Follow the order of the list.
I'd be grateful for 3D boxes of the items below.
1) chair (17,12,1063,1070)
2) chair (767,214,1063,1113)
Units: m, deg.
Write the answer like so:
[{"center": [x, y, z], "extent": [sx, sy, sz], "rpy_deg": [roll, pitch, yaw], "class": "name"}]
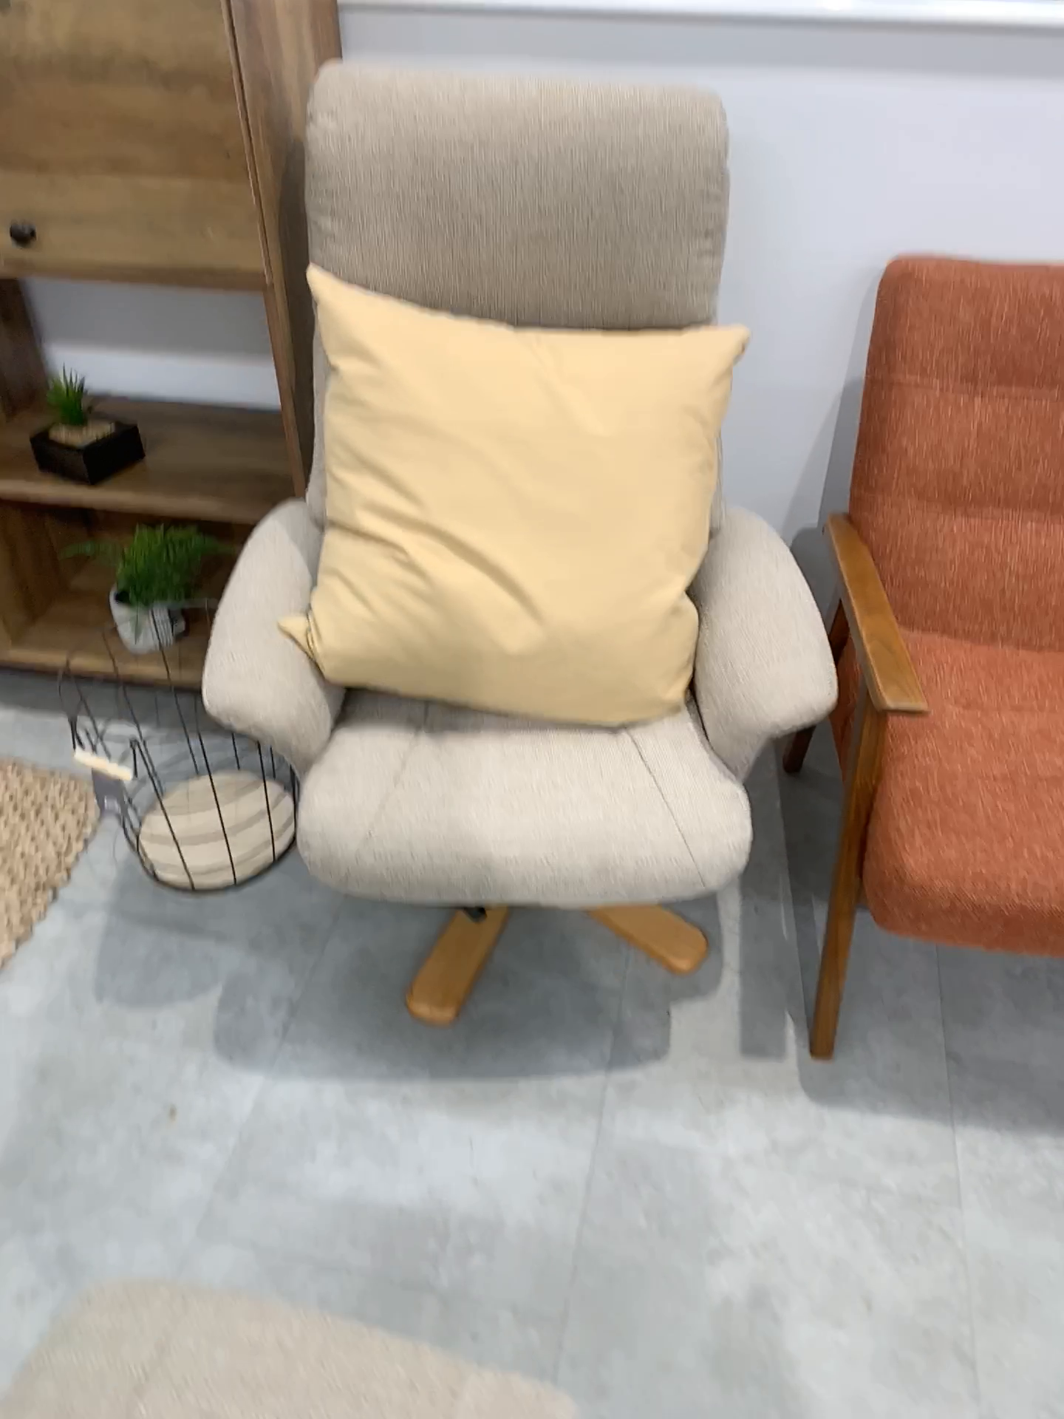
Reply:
[{"center": [-0.020, -0.155, 1.334], "extent": [0.760, 1.047, 0.664], "rpy_deg": [3, 40, -4], "class": "chair"}, {"center": [0.656, -0.074, 1.384], "extent": [0.550, 0.919, 0.623], "rpy_deg": [5, 33, 6], "class": "chair"}]
